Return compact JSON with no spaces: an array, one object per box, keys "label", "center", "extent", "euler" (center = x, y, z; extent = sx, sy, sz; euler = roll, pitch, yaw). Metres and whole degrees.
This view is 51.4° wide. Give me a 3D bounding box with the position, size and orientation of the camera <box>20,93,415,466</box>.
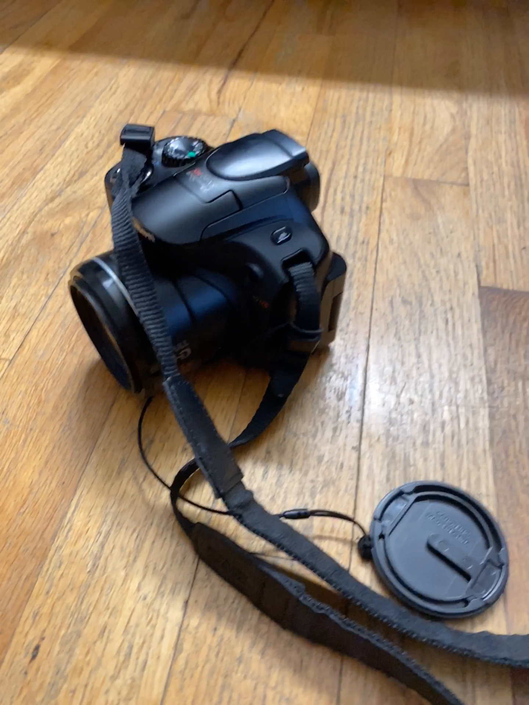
[{"label":"camera","center":[-0.024,-0.042,0.265],"extent":[0.120,0.090,0.120],"euler":[-27,56,-23]}]
